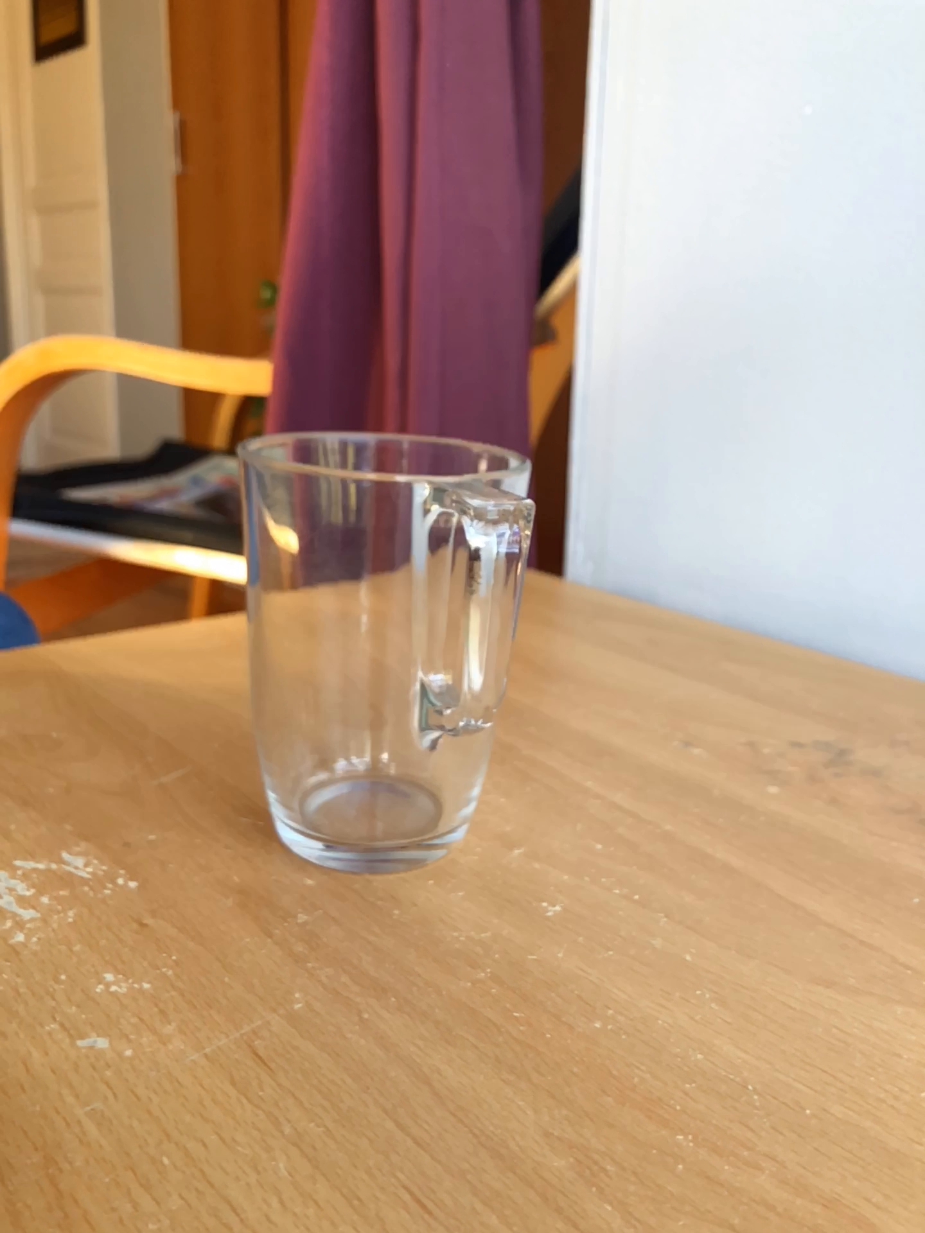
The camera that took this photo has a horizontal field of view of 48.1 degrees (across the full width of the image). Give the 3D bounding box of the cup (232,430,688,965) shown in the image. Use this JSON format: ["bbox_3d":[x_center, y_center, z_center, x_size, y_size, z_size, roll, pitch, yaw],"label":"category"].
[{"bbox_3d":[-0.009,0.008,0.269,0.078,0.103,0.103,-4,15,-24],"label":"cup"}]
